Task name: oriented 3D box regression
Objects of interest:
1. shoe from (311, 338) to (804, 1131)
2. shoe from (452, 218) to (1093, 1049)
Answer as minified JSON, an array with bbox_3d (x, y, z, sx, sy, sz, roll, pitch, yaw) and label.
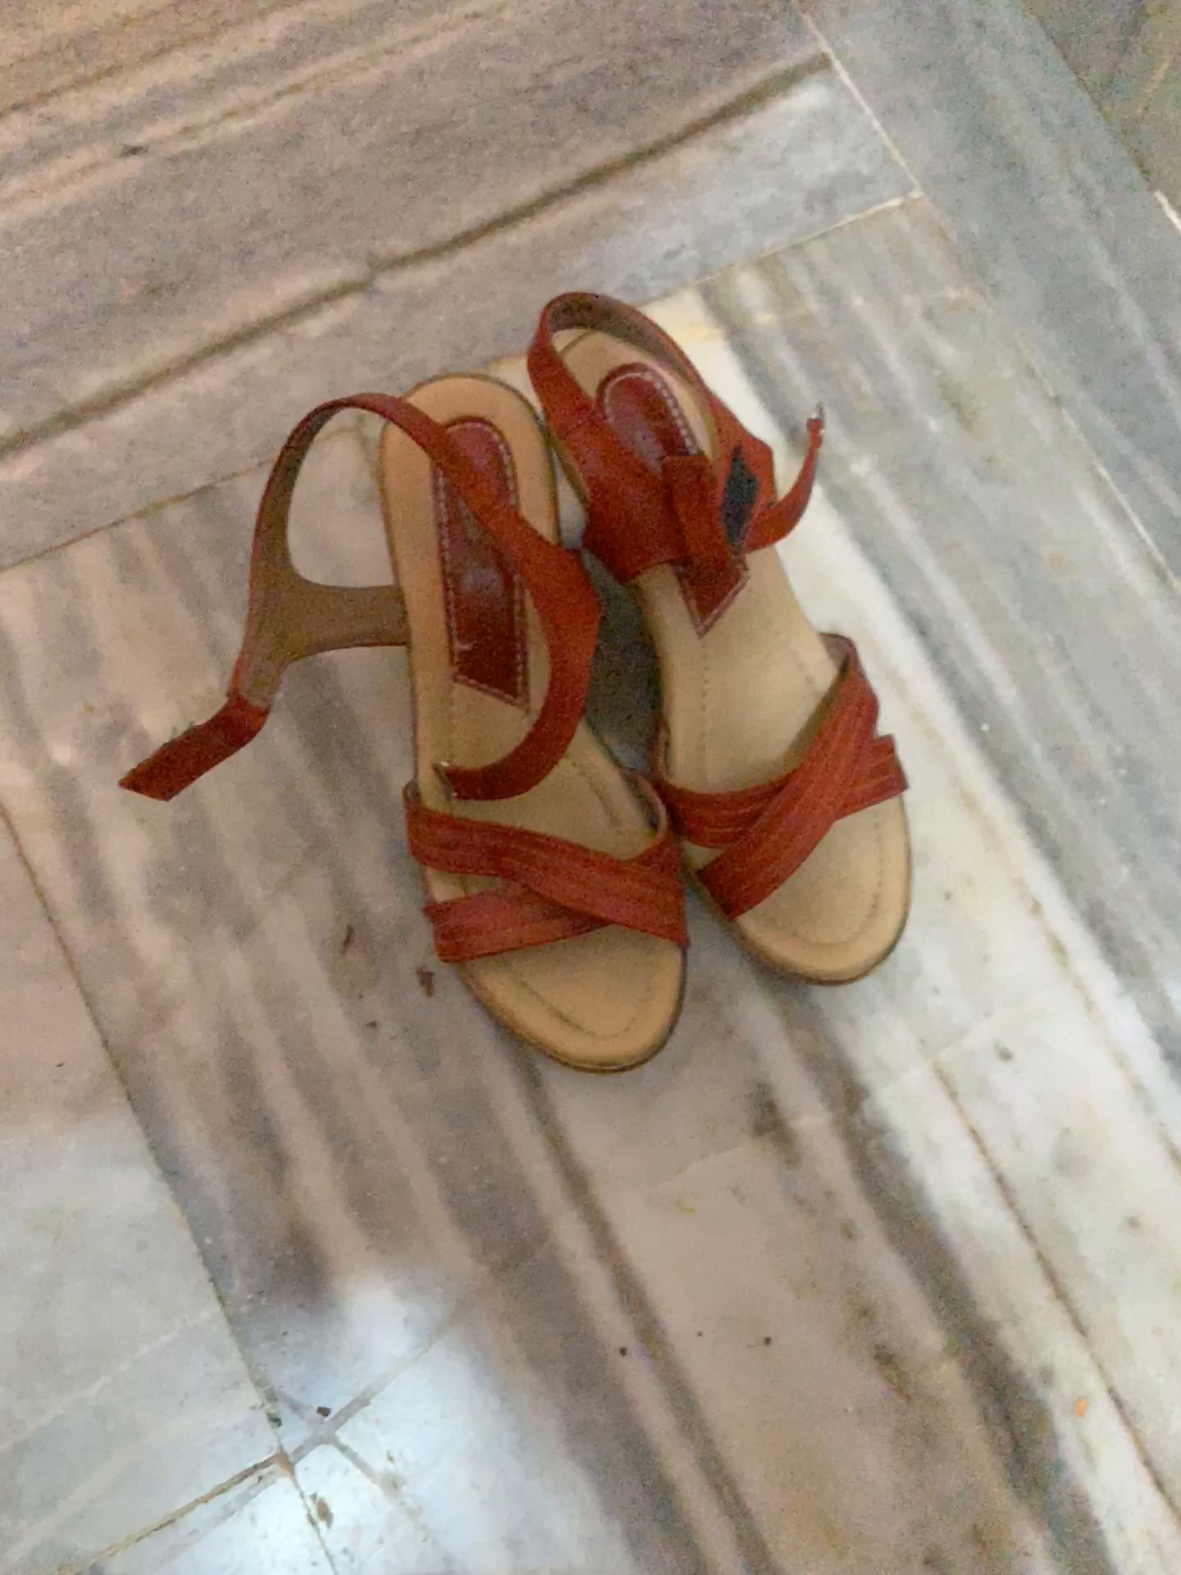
[{"bbox_3d":[-0.018,-0.015,0.428,0.100,0.100,0.240,-13,78,-8],"label":"shoe"},{"bbox_3d":[0.047,-0.045,0.412,0.100,0.100,0.240,-22,80,-9],"label":"shoe"}]
